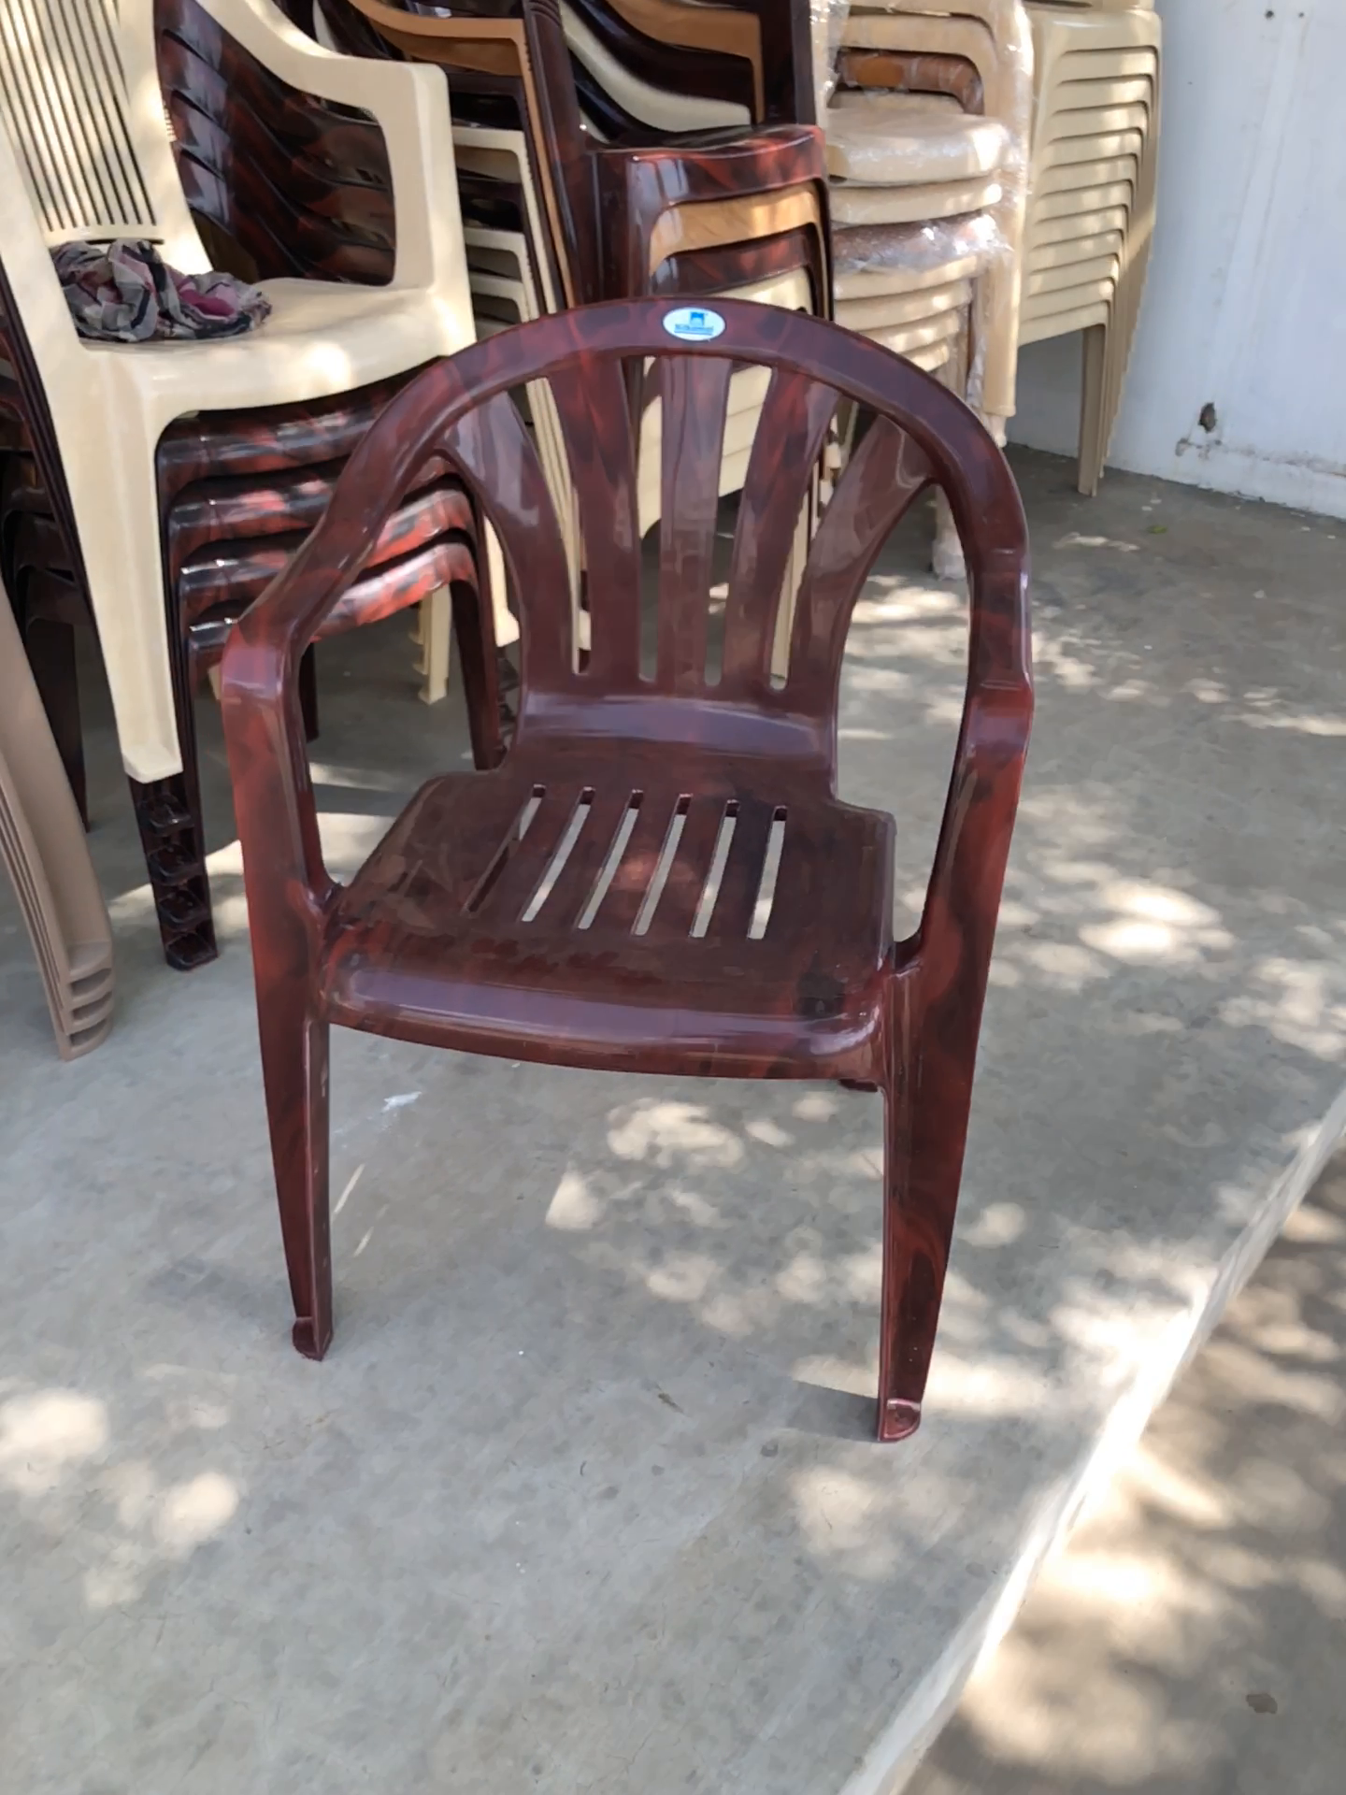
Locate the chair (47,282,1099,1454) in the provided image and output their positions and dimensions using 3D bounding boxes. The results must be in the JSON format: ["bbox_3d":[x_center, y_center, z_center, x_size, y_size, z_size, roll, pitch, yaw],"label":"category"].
[{"bbox_3d":[-0.033,-0.042,1.224,0.580,0.766,0.523,5,33,6],"label":"chair"}]
